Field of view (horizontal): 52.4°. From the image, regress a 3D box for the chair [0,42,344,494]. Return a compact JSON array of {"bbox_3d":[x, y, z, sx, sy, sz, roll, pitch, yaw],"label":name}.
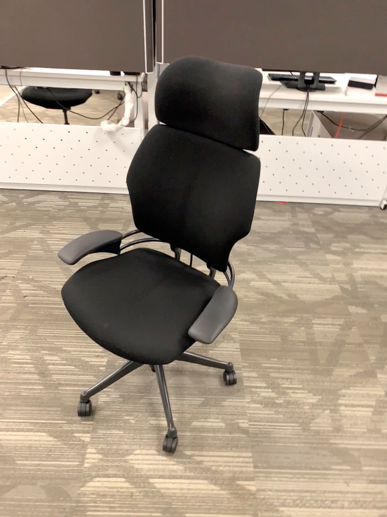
[{"bbox_3d":[-0.113,-0.020,1.313,0.692,1.090,0.775,25,42,27],"label":"chair"}]
